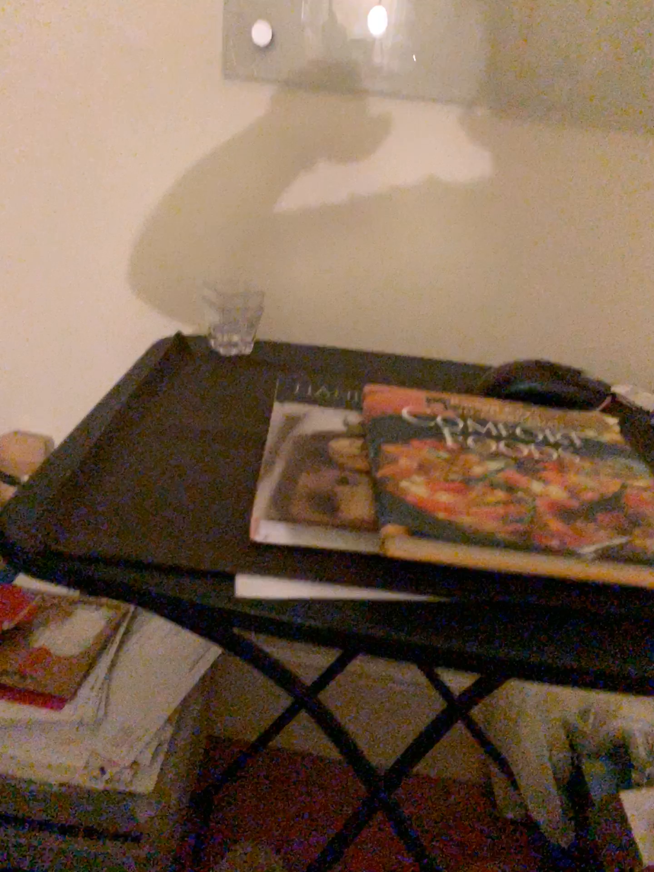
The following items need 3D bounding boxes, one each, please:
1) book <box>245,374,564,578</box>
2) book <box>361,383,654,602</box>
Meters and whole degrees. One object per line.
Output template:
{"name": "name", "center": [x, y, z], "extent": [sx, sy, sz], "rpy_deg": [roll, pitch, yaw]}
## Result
{"name": "book", "center": [0.043, 0.015, 0.478], "extent": [0.180, 0.020, 0.221], "rpy_deg": [7, 26, -4]}
{"name": "book", "center": [0.130, 0.024, 0.448], "extent": [0.200, 0.020, 0.211], "rpy_deg": [6, 26, -4]}
